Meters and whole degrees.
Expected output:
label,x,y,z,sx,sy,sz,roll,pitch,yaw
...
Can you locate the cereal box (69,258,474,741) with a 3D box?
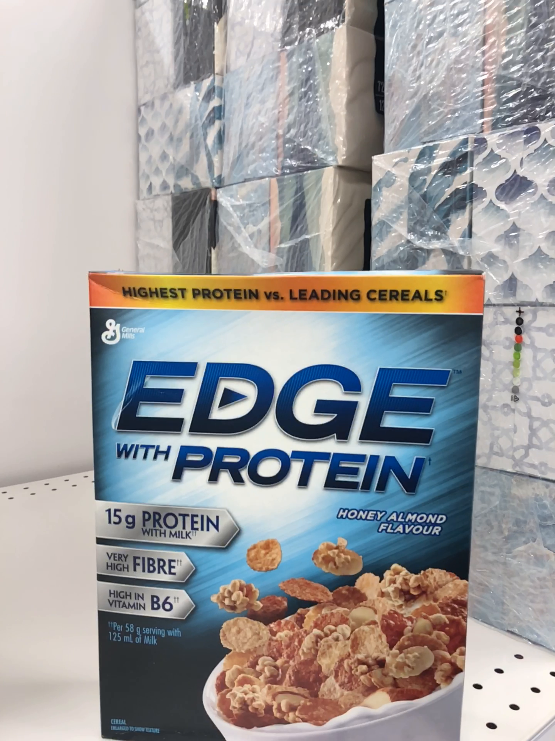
label,x,y,z,sx,sy,sz,roll,pitch,yaw
cereal box,-0.004,0.080,0.345,0.200,0.280,0.050,1,8,7
